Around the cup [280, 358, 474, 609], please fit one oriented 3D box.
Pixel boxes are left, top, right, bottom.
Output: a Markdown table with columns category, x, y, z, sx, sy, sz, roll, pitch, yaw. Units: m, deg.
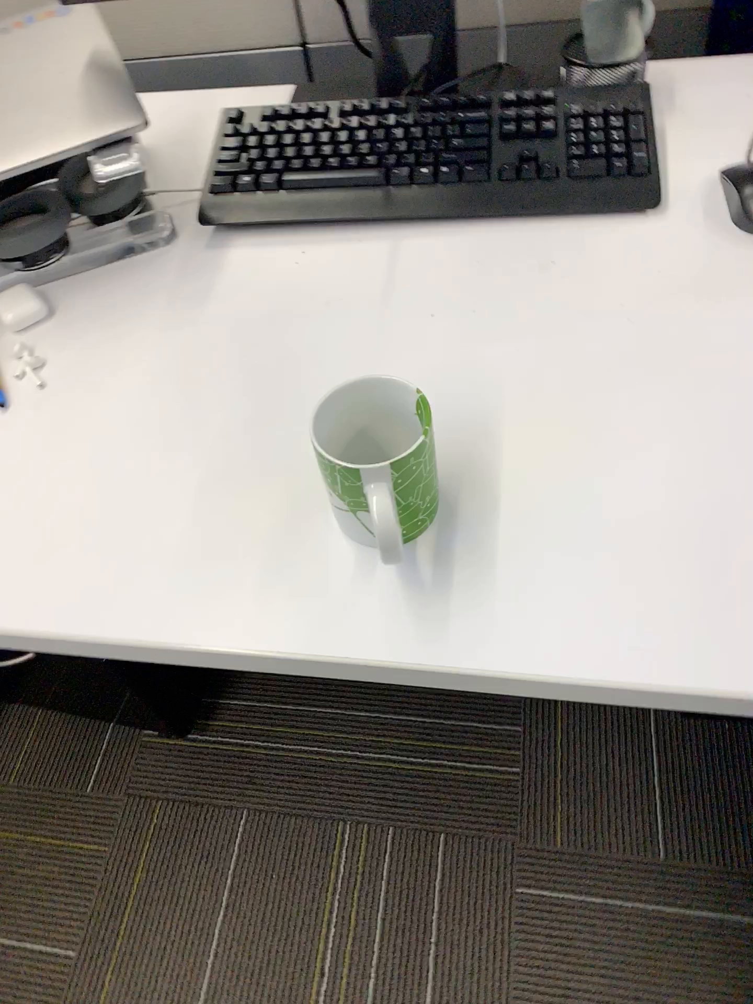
| category | x | y | z | sx | sy | sz | roll | pitch | yaw |
| --- | --- | --- | --- | --- | --- | --- | --- | --- | --- |
| cup | 0.000 | -0.013 | 0.498 | 0.090 | 0.080 | 0.120 | -16 | 53 | -2 |
